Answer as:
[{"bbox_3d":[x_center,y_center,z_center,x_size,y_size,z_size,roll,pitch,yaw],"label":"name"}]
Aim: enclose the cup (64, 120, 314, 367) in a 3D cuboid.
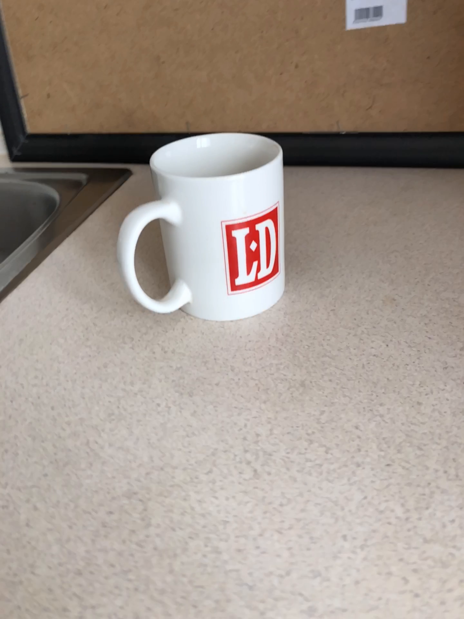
[{"bbox_3d":[-0.020,-0.049,0.326,0.120,0.099,0.084,-31,42,-33],"label":"cup"}]
